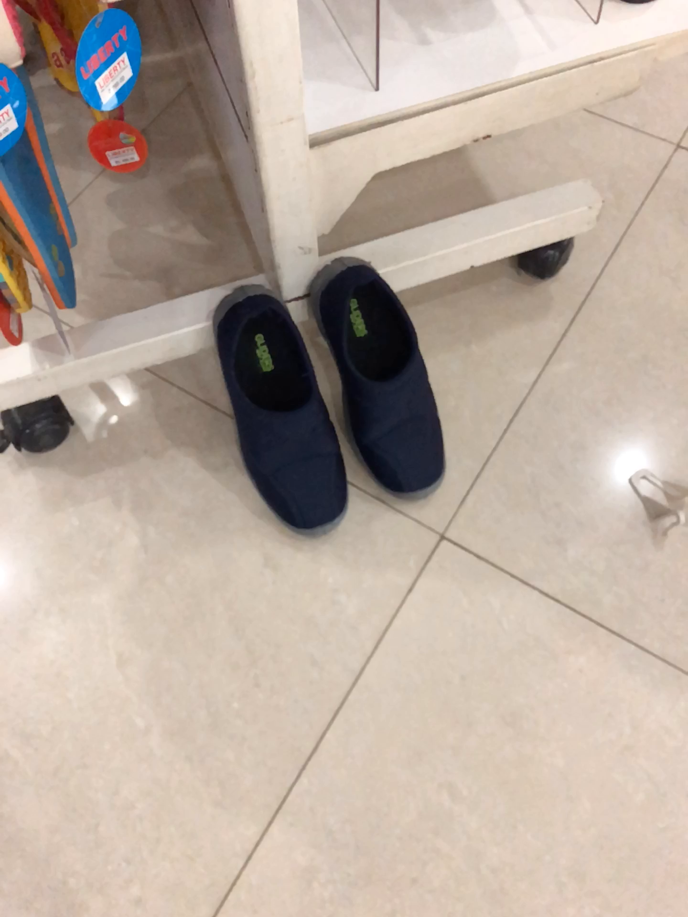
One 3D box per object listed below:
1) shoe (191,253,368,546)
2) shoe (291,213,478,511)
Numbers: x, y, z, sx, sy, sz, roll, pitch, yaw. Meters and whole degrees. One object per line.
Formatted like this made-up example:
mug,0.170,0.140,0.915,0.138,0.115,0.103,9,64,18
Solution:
shoe,-0.070,-0.062,0.818,0.107,0.064,0.288,-16,82,-6
shoe,0.037,-0.102,0.823,0.110,0.084,0.288,-16,80,-6
